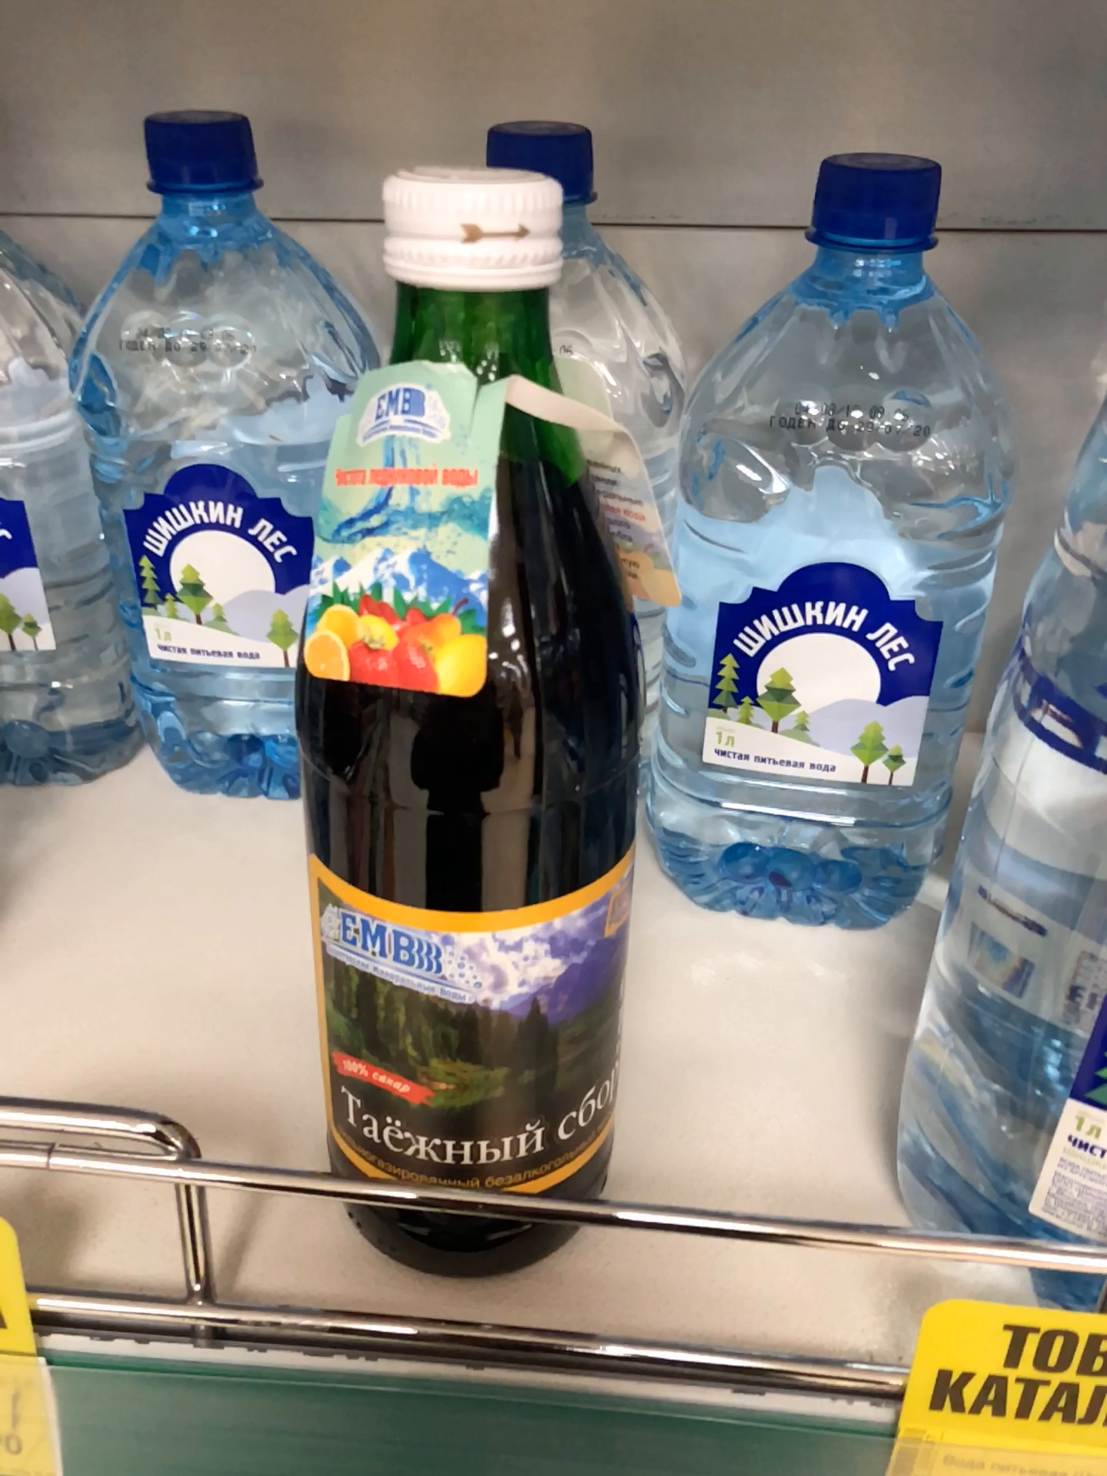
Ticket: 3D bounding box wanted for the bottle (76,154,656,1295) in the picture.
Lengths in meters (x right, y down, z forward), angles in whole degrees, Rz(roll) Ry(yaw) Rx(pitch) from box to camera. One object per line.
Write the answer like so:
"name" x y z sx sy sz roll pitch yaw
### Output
"bottle" -0.023 0.008 0.245 0.075 0.219 0.068 0 31 0
